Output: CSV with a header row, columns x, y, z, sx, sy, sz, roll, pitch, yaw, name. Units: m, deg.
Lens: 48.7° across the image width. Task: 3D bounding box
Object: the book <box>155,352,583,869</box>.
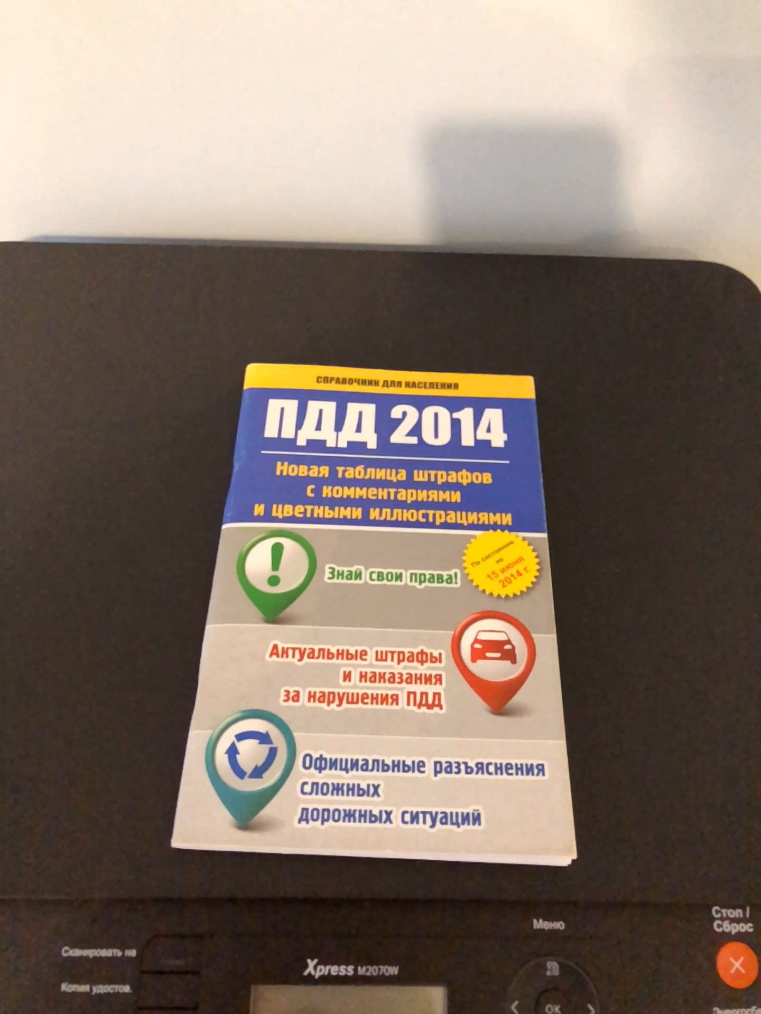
x,y,z,sx,sy,sz,roll,pitch,yaw,name
-0.001,0.024,0.313,0.130,0.010,0.201,2,58,-1,book
